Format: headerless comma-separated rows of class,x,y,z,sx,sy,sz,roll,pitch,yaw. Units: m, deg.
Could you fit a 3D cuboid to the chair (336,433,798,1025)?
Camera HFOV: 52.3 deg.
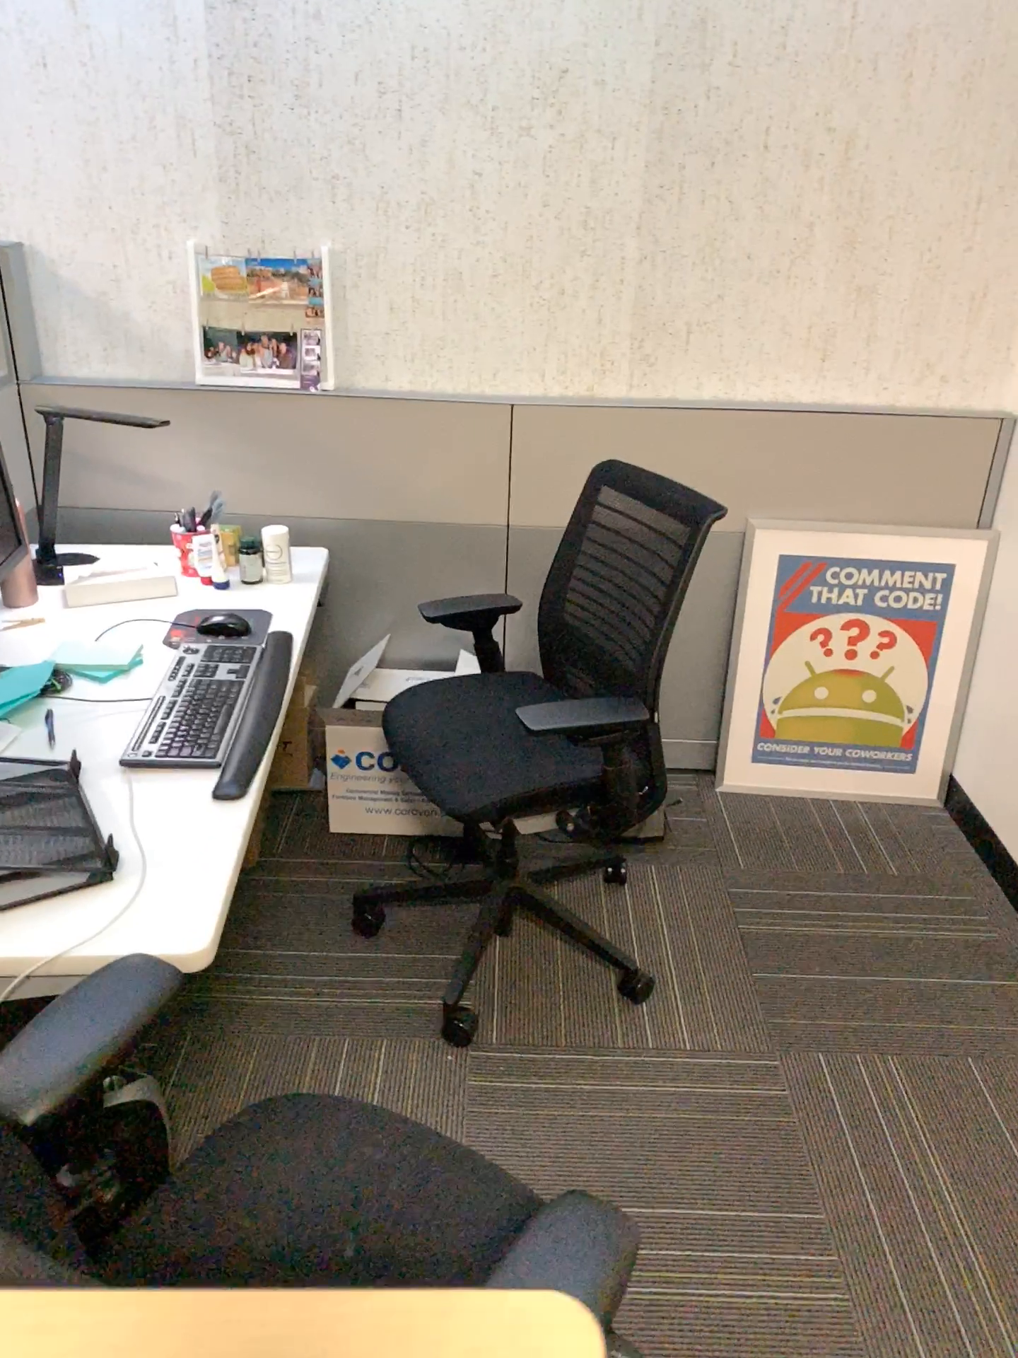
chair,0.068,0.050,2.215,0.650,0.955,0.674,-11,28,-25
